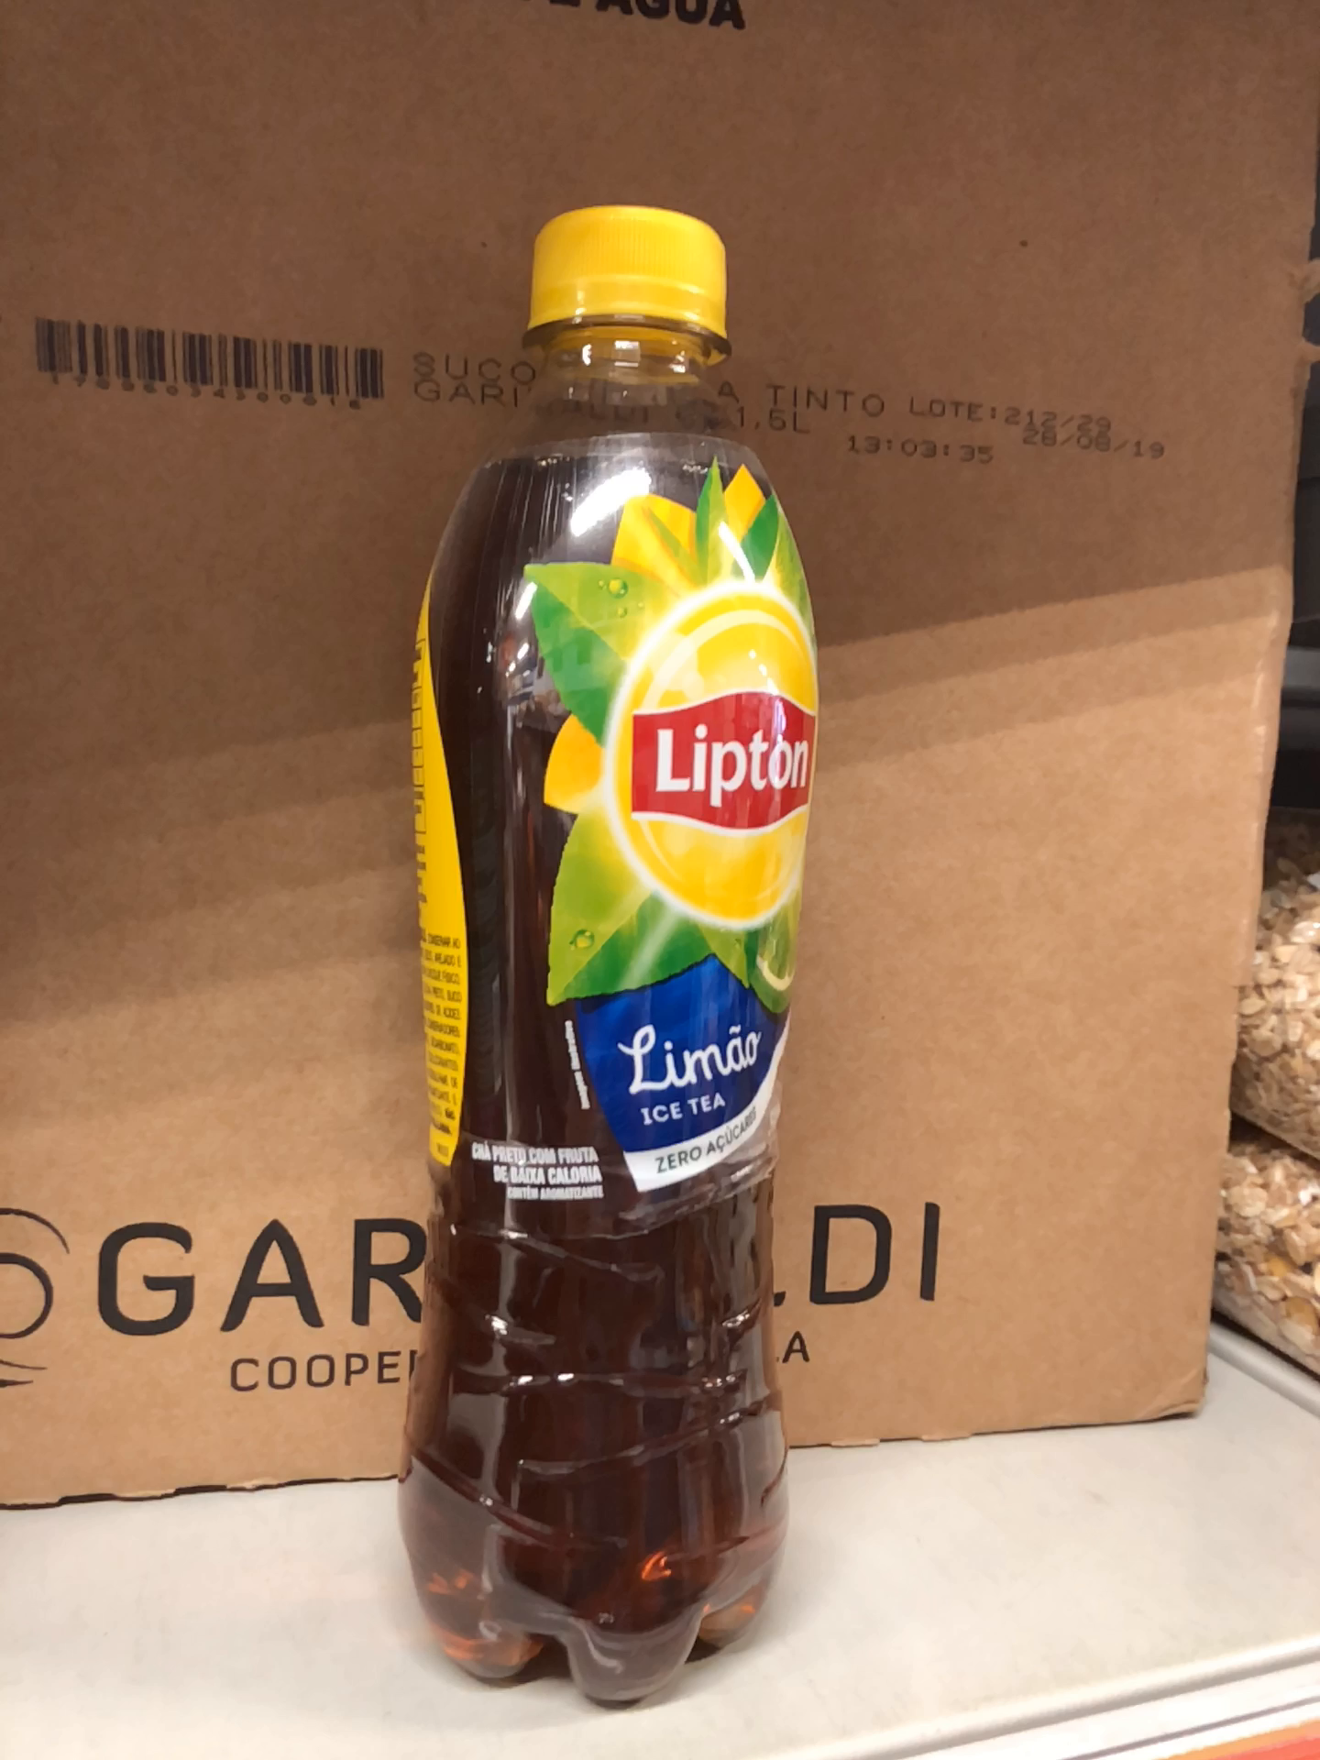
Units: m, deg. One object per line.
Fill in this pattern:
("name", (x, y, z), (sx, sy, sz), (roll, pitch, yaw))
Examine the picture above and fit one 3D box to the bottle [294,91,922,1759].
("bottle", (-0.011, 0.010, 0.232), (0.070, 0.219, 0.060), (-3, 8, -38))
